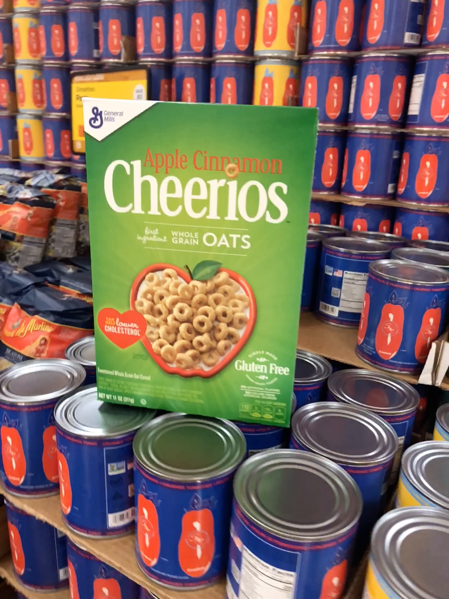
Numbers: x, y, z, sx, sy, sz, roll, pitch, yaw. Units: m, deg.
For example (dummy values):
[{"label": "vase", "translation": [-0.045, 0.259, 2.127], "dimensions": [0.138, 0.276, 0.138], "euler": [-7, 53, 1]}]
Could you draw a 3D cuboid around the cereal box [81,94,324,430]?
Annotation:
[{"label": "cereal box", "translation": [-0.024, -0.032, 0.465], "dimensions": [0.200, 0.288, 0.050], "euler": [6, 18, 10]}]
